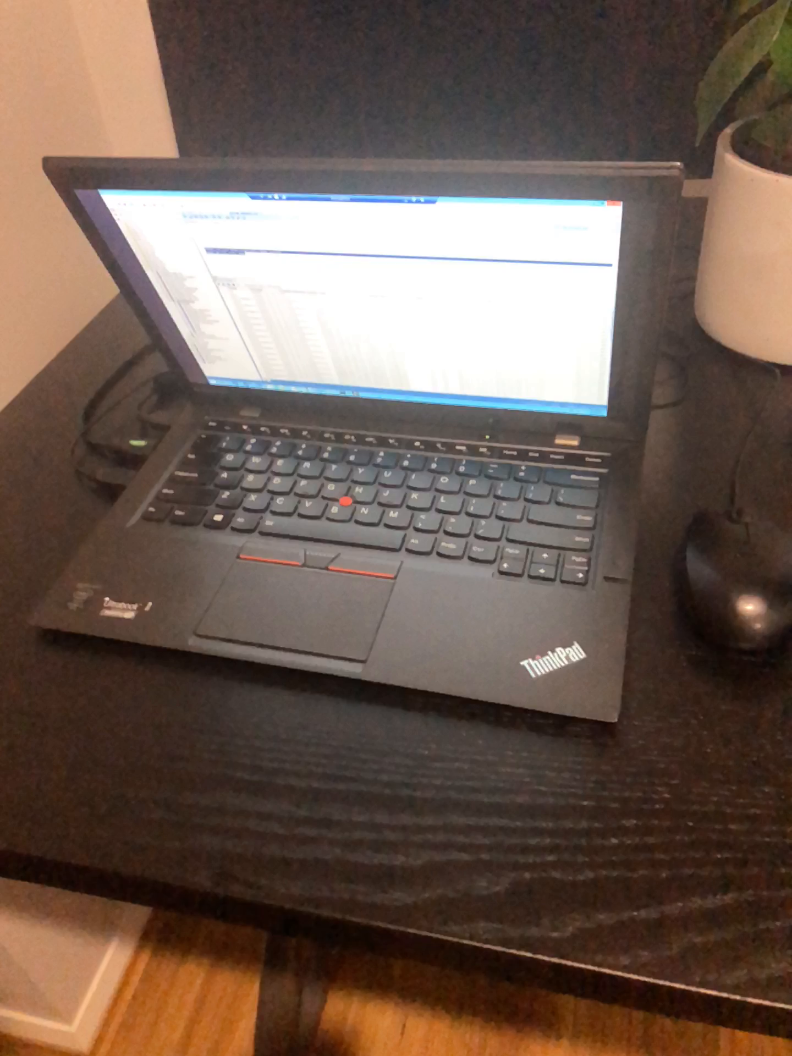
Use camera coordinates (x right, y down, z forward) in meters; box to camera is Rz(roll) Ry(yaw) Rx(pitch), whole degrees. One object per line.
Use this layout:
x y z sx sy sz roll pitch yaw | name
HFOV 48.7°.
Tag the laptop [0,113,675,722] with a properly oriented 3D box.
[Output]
-0.033 -0.084 0.489 0.340 0.214 0.245 6 40 15 | laptop
